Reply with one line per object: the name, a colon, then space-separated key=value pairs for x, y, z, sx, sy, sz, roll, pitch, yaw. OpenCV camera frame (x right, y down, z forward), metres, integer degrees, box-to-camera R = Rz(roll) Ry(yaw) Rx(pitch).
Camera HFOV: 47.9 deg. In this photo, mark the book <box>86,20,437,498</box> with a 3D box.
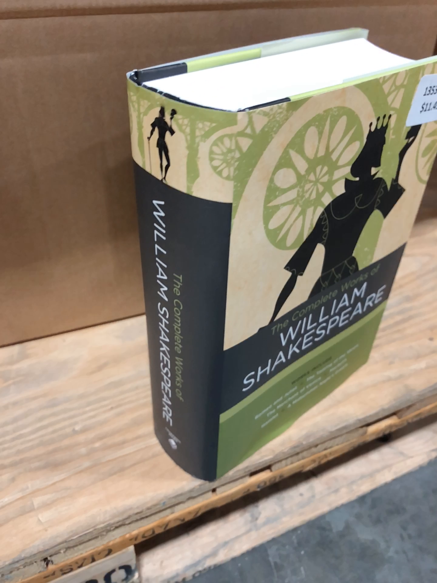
book: x=0.034 y=-0.018 z=0.306 sx=0.181 sy=0.239 sz=0.080 roll=-27 pitch=48 yaw=-32
